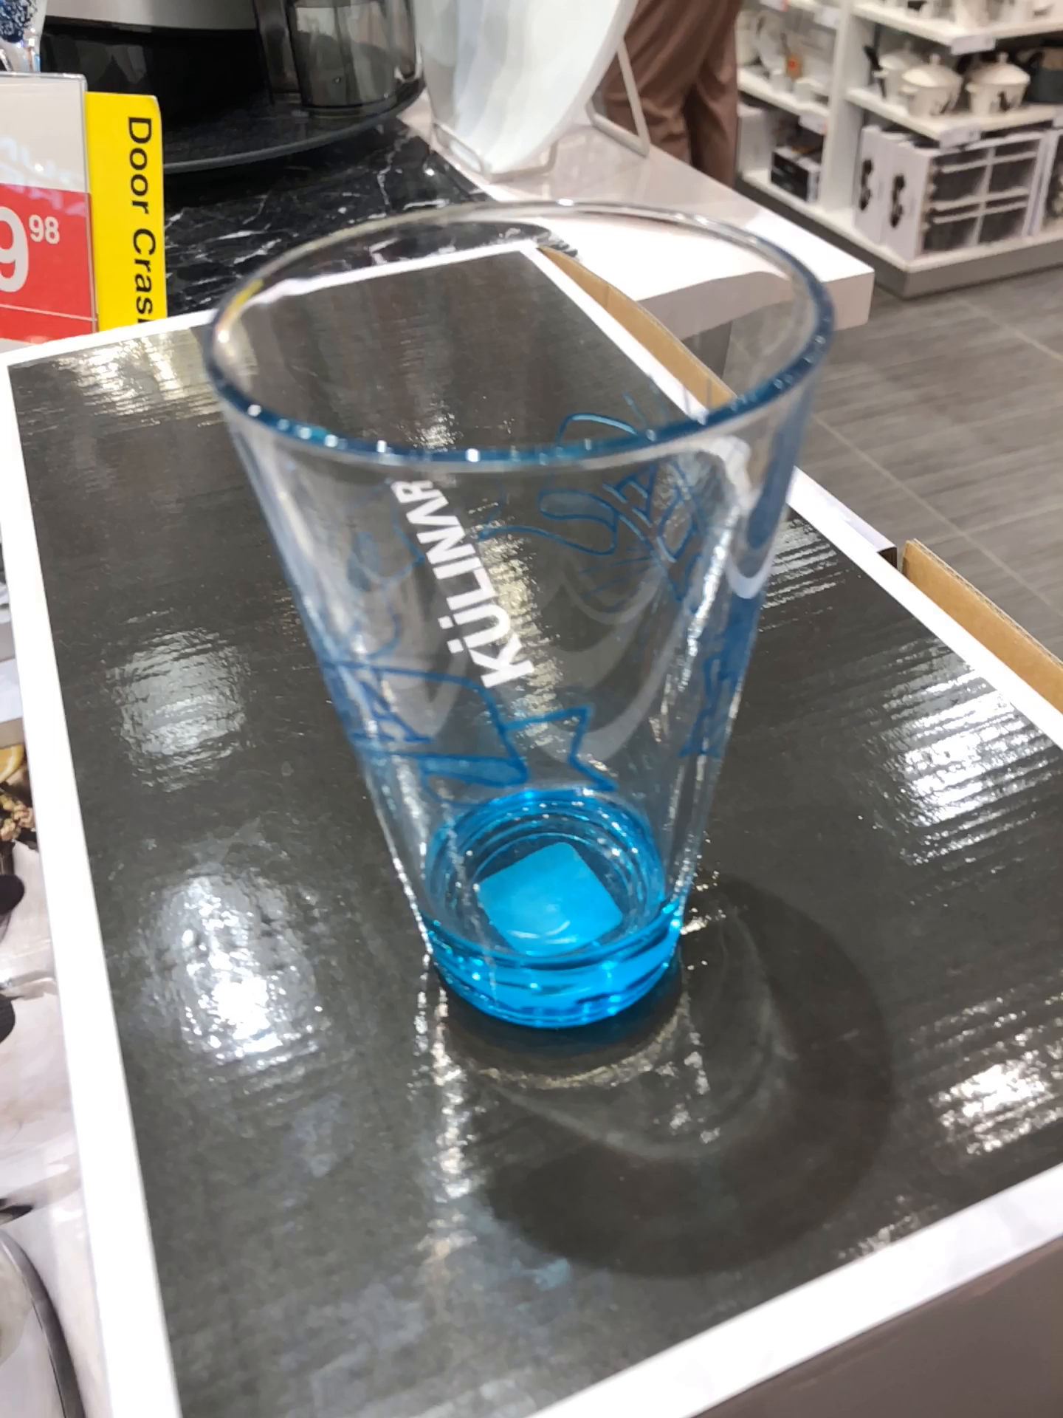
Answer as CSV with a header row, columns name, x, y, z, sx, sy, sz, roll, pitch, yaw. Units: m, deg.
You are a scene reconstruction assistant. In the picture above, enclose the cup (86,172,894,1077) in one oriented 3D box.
name,x,y,z,sx,sy,sz,roll,pitch,yaw
cup,-0.003,-0.011,0.183,0.080,0.110,0.080,-2,41,2
